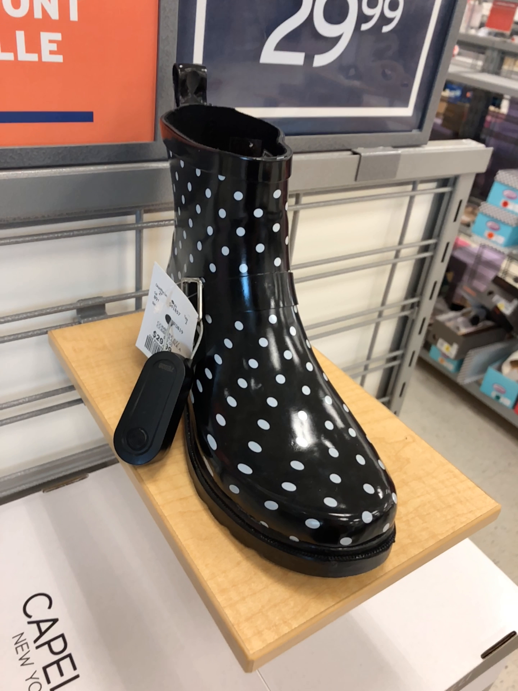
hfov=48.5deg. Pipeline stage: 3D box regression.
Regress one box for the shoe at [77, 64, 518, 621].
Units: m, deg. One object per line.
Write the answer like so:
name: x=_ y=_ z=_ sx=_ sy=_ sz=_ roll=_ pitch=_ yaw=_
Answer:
shoe: x=-0.016 y=-0.030 z=0.326 sx=0.095 sy=0.188 sz=0.262 roll=-12 pitch=38 yaw=-28
